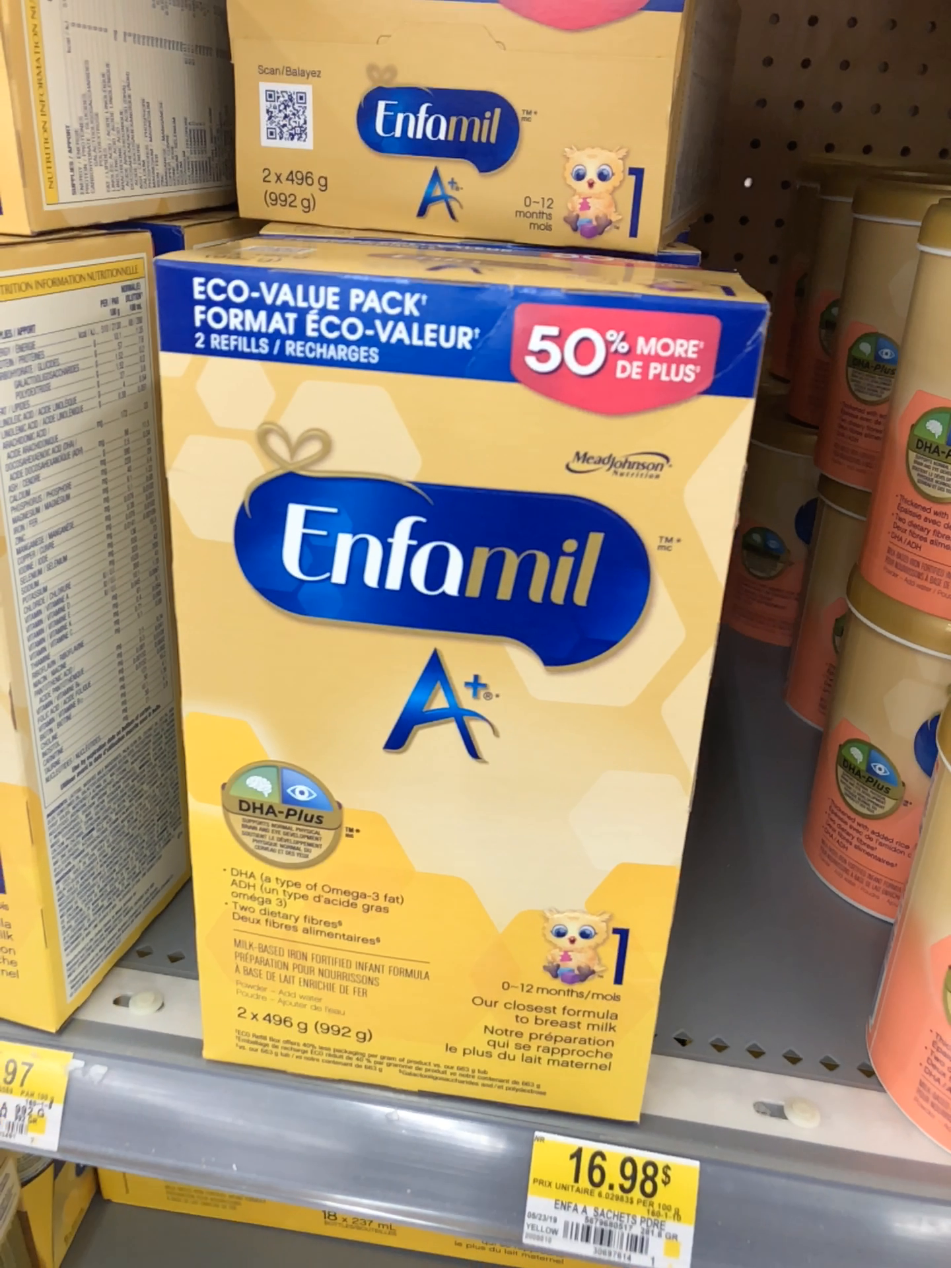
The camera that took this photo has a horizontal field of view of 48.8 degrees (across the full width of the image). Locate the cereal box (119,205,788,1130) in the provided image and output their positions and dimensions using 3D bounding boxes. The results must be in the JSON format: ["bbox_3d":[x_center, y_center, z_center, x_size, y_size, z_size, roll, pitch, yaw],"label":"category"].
[{"bbox_3d":[-0.009,0.014,0.321,0.150,0.258,0.081,6,24,5],"label":"cereal box"}]
